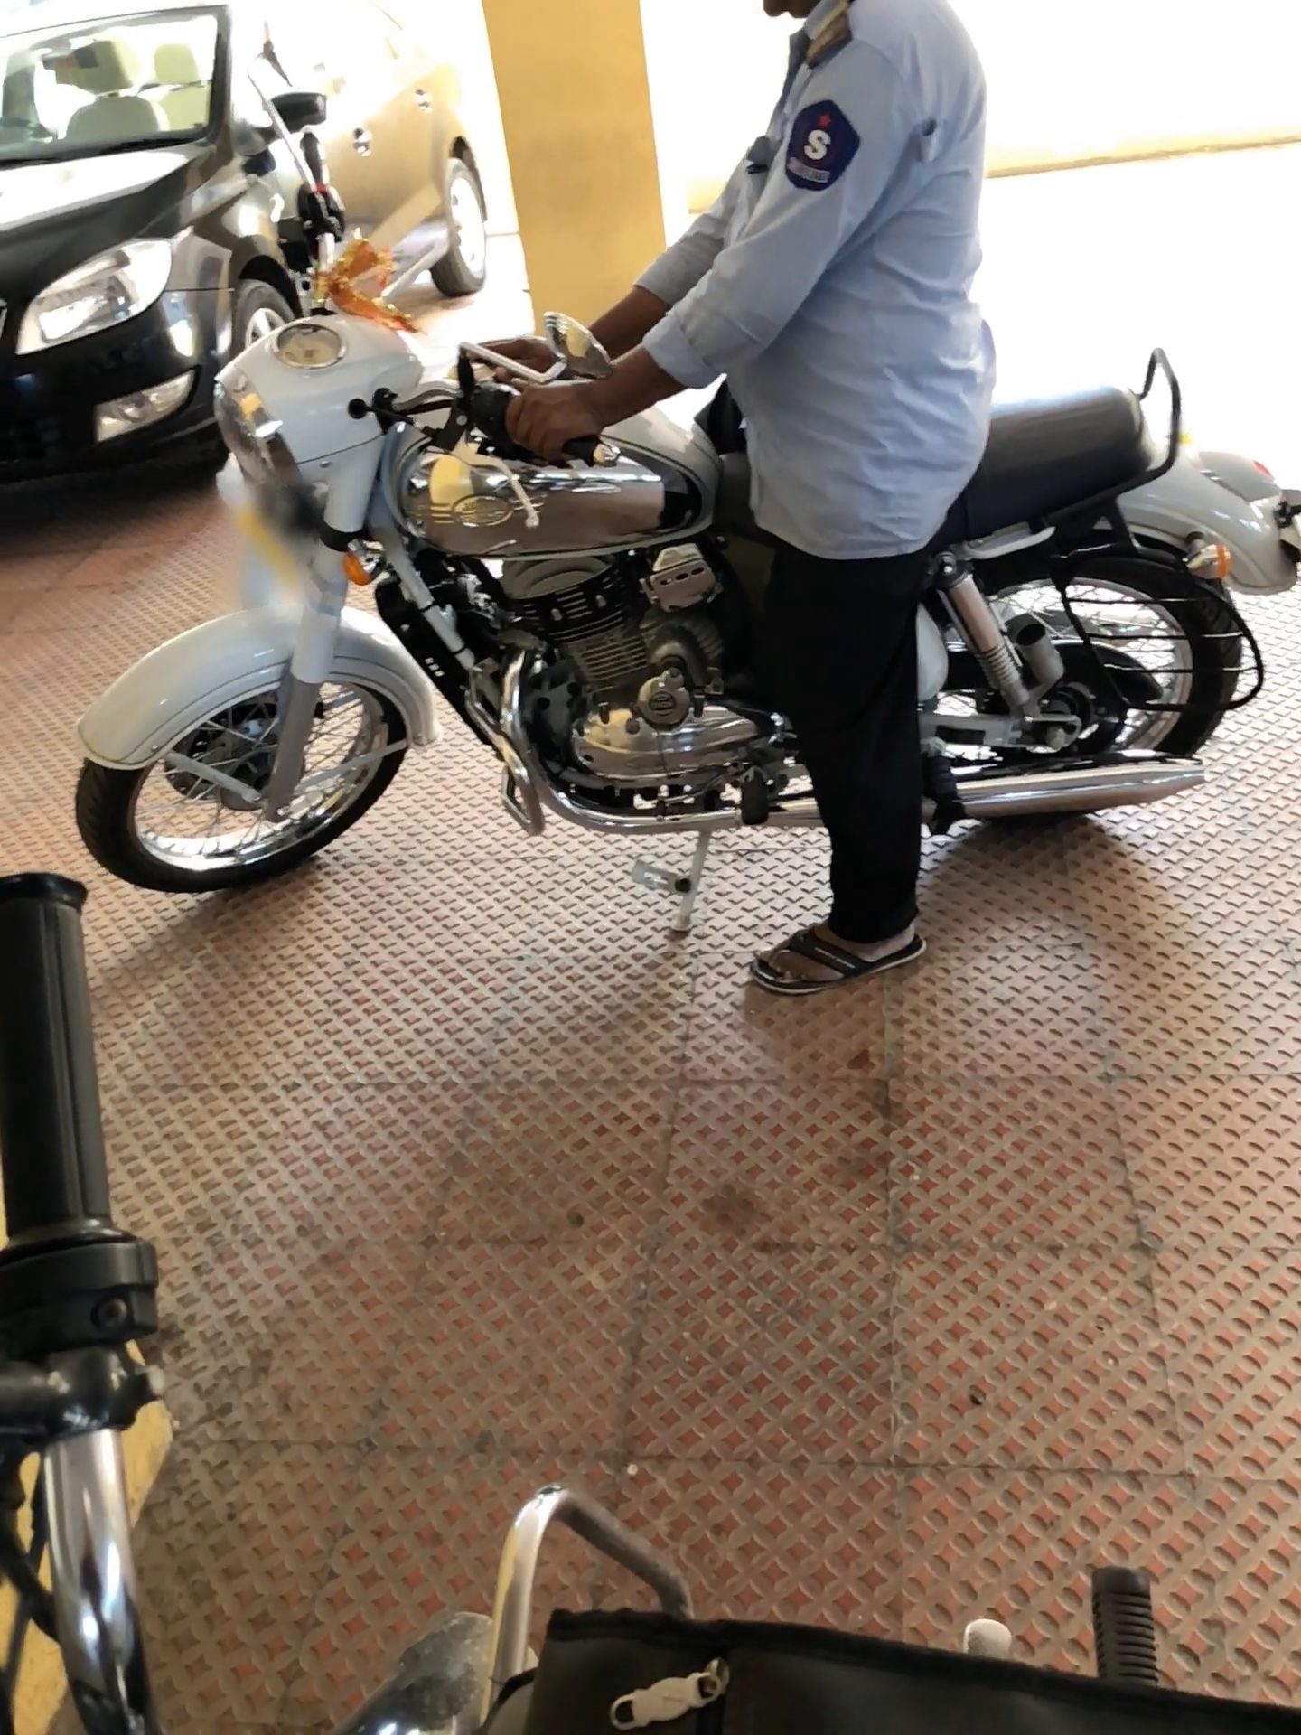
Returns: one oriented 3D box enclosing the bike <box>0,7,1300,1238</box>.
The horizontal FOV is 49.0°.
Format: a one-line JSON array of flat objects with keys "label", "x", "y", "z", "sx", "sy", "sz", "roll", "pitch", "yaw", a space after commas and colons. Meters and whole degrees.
[{"label": "bike", "x": -0.038, "y": -0.347, "z": 2.005, "sx": 1.898, "sy": 1.234, "sz": 0.849, "roll": -7, "pitch": 33, "yaw": 2}]
